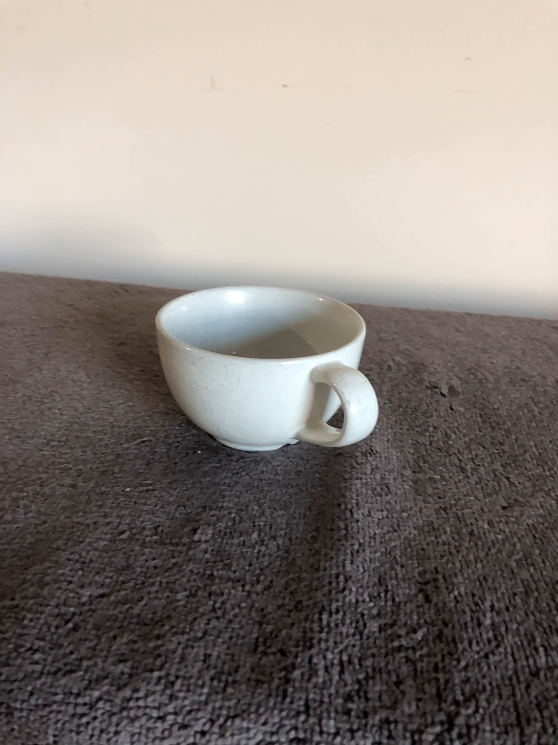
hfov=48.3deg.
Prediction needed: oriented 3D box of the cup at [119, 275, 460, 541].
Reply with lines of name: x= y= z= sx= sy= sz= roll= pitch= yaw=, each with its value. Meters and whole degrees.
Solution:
cup: x=-0.002 y=0.003 z=0.272 sx=0.090 sy=0.050 sz=0.120 roll=-16 pitch=30 yaw=-32
